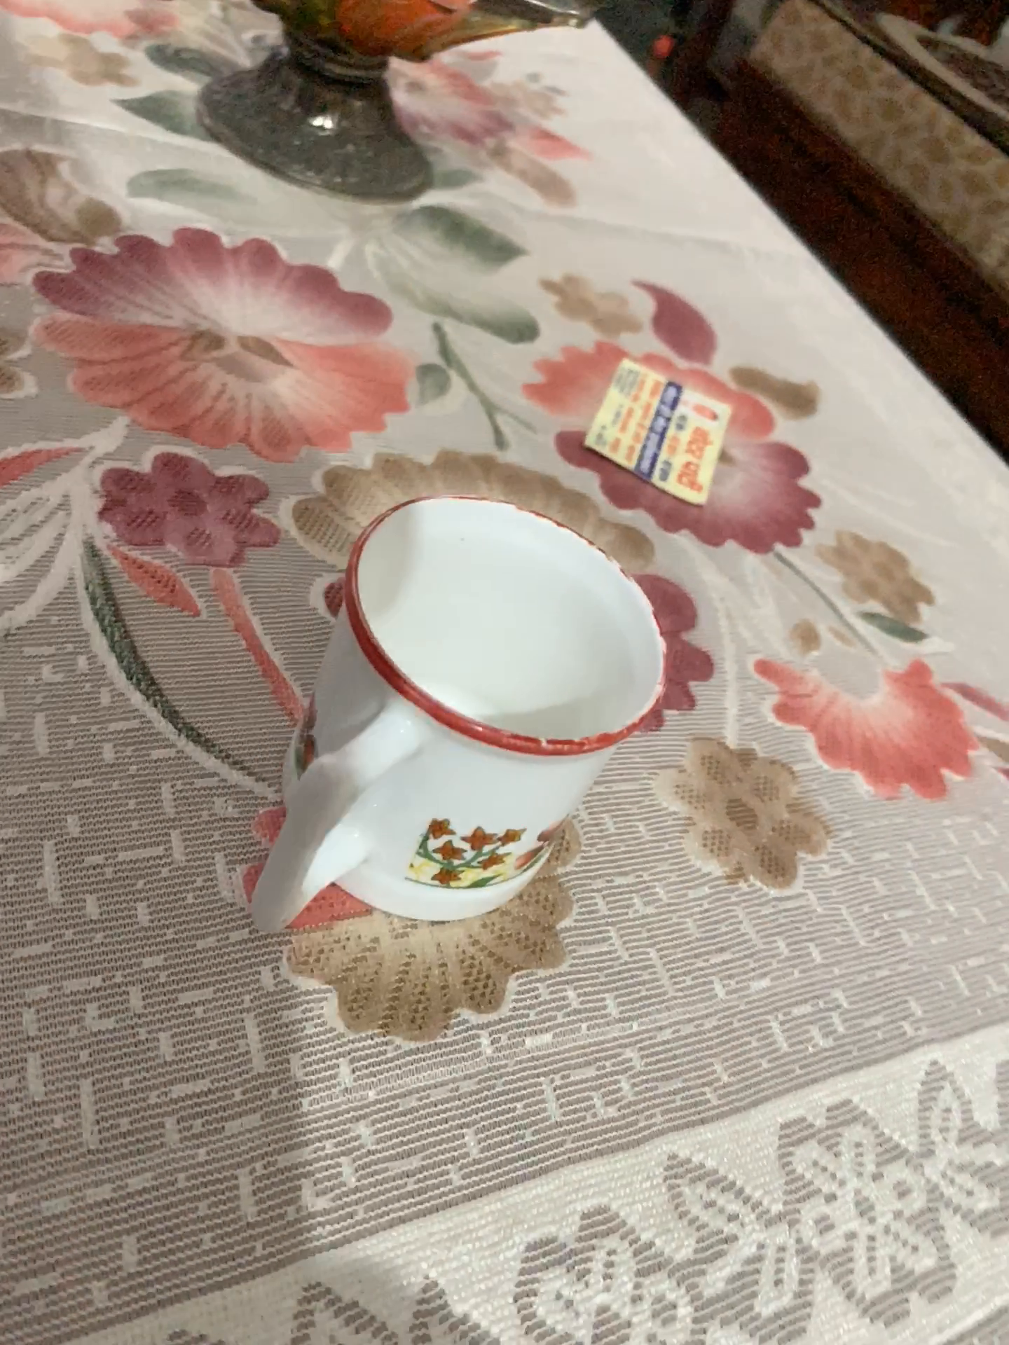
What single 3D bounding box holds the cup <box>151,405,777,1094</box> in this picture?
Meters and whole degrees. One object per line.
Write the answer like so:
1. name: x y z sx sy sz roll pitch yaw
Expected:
1. cup: -0.007 0.011 0.220 0.070 0.080 0.100 34 43 8
